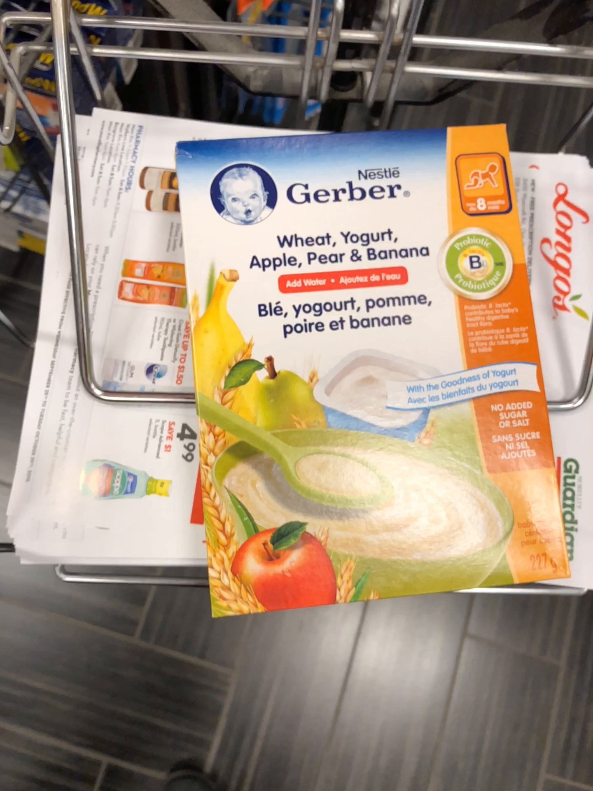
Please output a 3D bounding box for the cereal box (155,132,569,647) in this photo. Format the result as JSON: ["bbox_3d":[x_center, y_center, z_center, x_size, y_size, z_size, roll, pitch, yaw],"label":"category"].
[{"bbox_3d":[0.020,-0.006,0.286,0.150,0.050,0.200,-3,80,-2],"label":"cereal box"}]
